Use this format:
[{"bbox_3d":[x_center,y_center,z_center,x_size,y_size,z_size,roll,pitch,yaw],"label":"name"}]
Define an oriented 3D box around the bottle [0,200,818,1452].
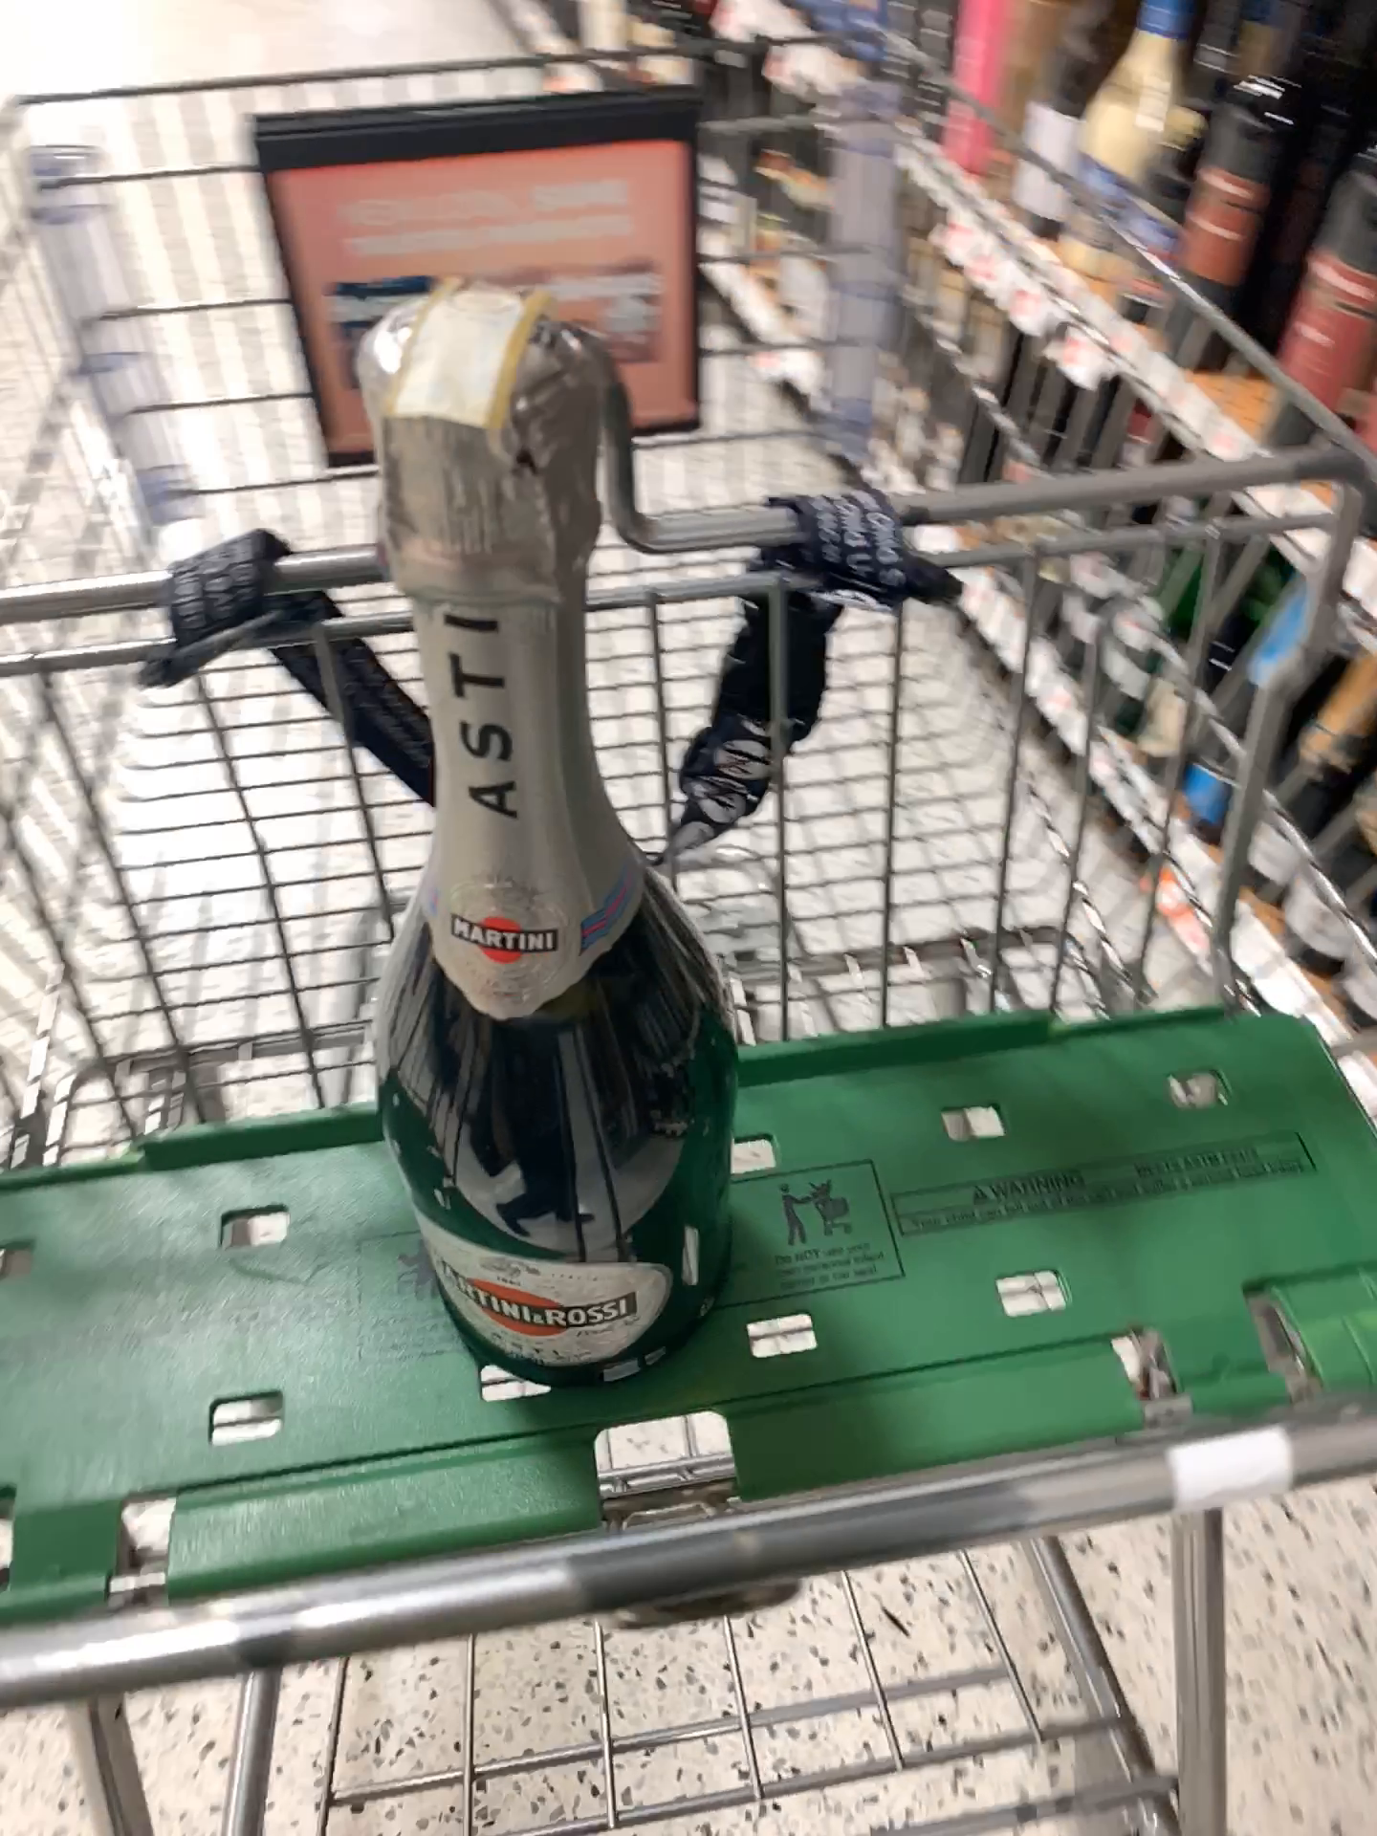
[{"bbox_3d":[-0.038,0.010,0.324,0.100,0.287,0.101,-1,51,1],"label":"bottle"}]
